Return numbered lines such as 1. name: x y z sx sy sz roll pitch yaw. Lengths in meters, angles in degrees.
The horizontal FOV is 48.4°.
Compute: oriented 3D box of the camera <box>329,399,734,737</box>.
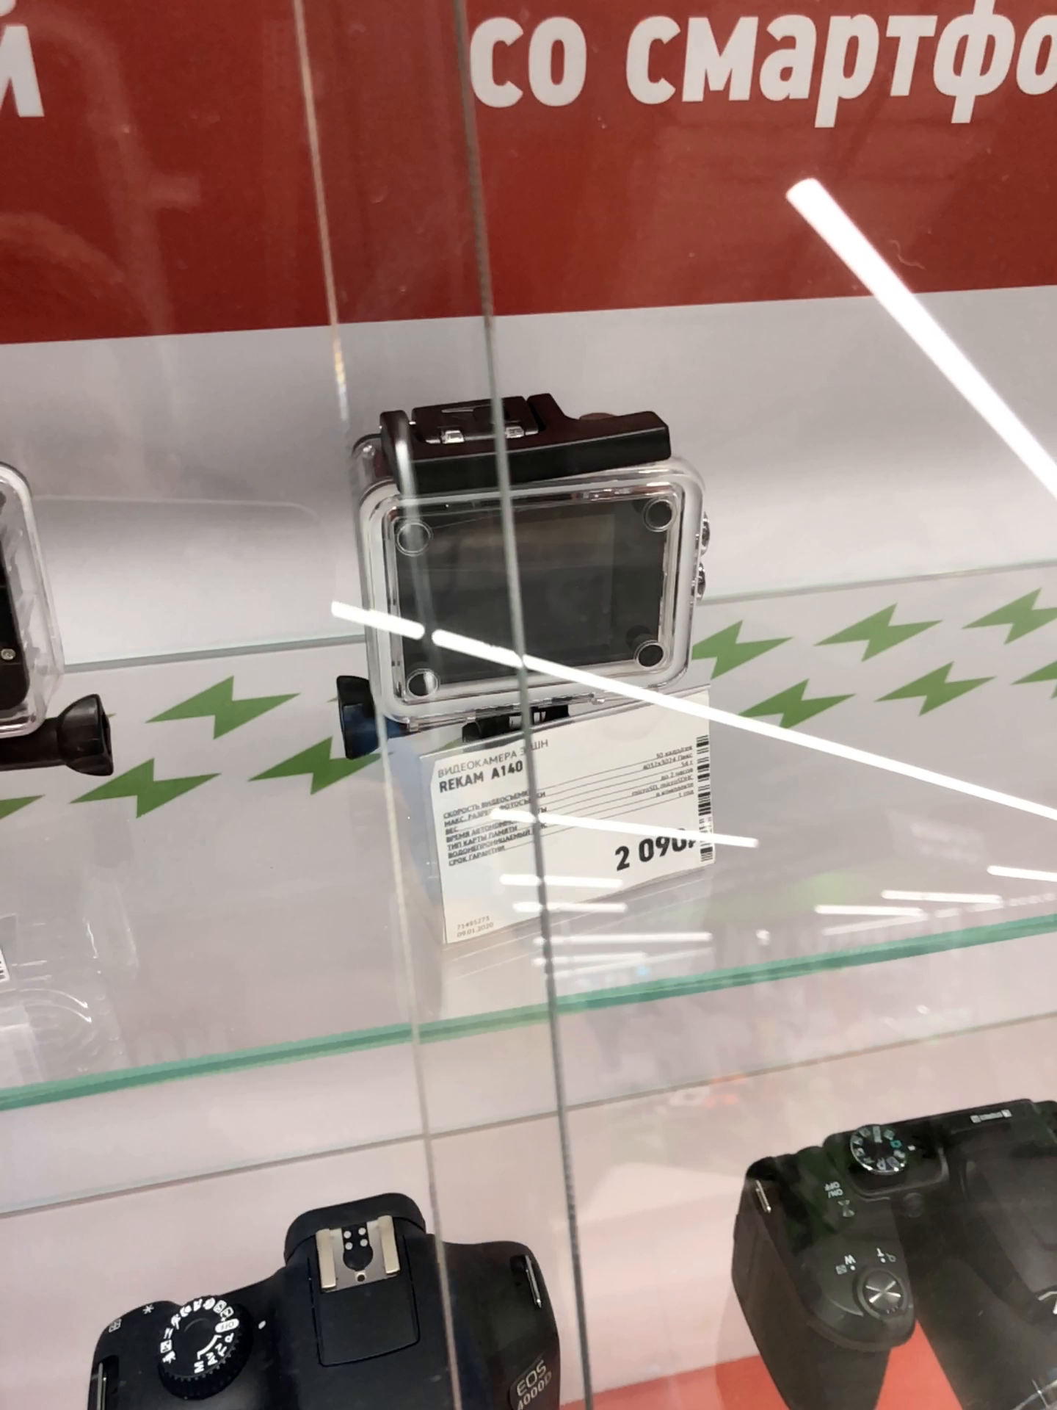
1. camera: -0.001 -0.031 0.254 0.075 0.053 0.040 -7 33 -12
